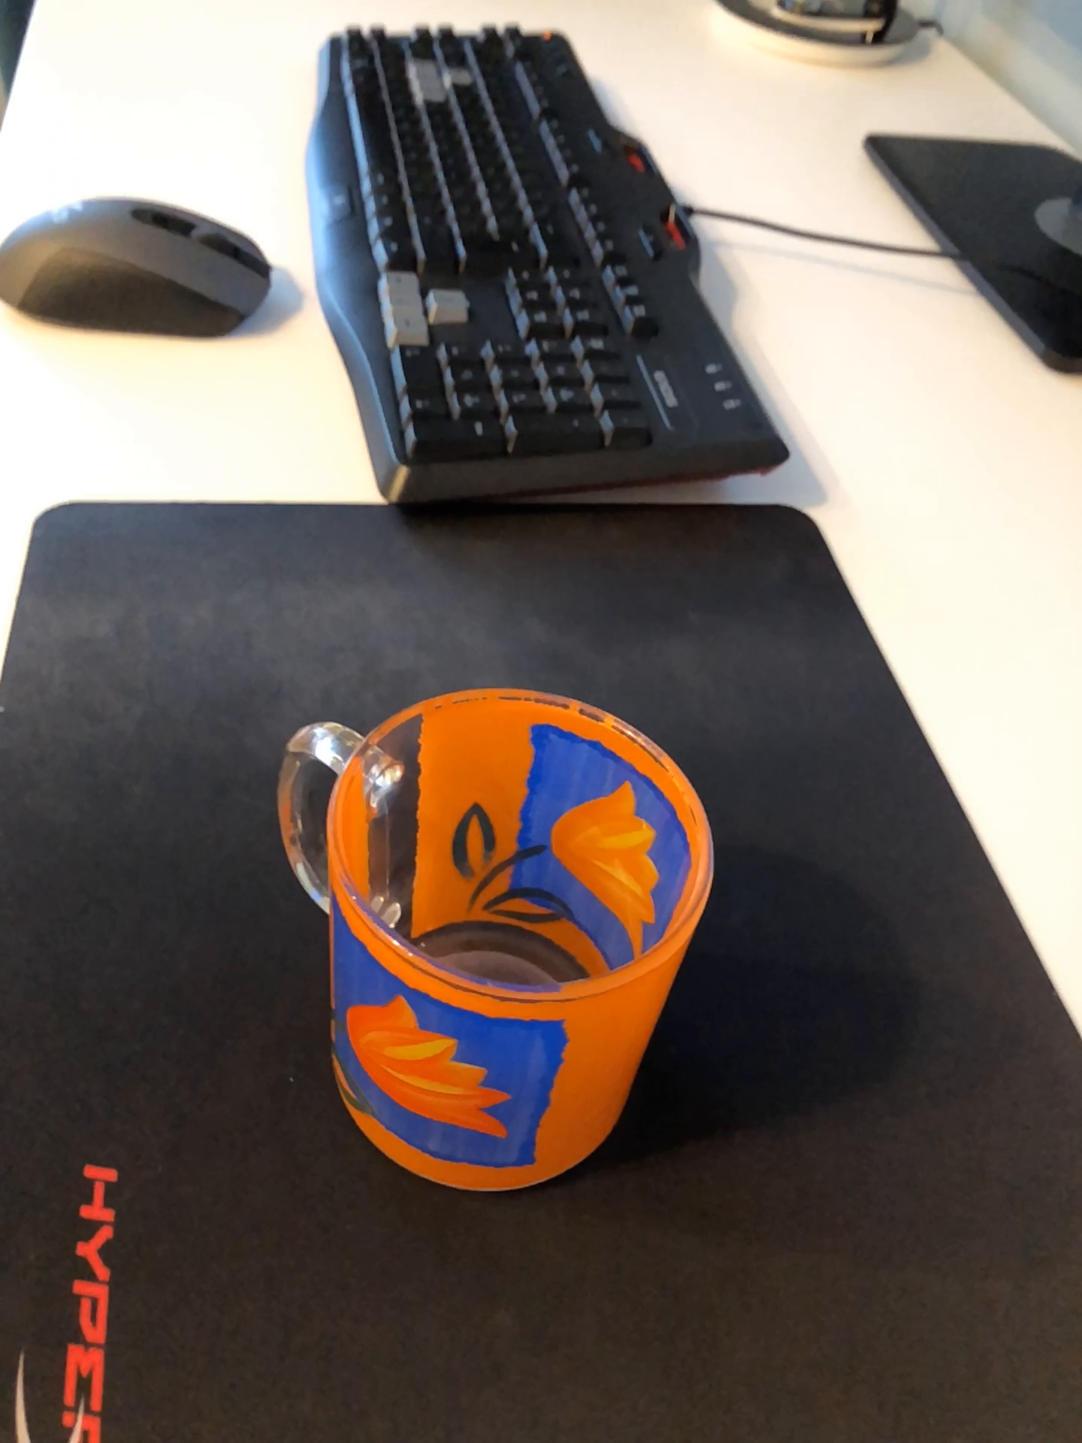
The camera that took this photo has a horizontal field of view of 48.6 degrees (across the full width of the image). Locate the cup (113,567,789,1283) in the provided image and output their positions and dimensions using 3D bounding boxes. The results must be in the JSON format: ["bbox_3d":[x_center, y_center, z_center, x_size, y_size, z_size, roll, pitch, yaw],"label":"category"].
[{"bbox_3d":[-0.022,0.043,0.272,0.114,0.089,0.076,32,50,21],"label":"cup"}]
